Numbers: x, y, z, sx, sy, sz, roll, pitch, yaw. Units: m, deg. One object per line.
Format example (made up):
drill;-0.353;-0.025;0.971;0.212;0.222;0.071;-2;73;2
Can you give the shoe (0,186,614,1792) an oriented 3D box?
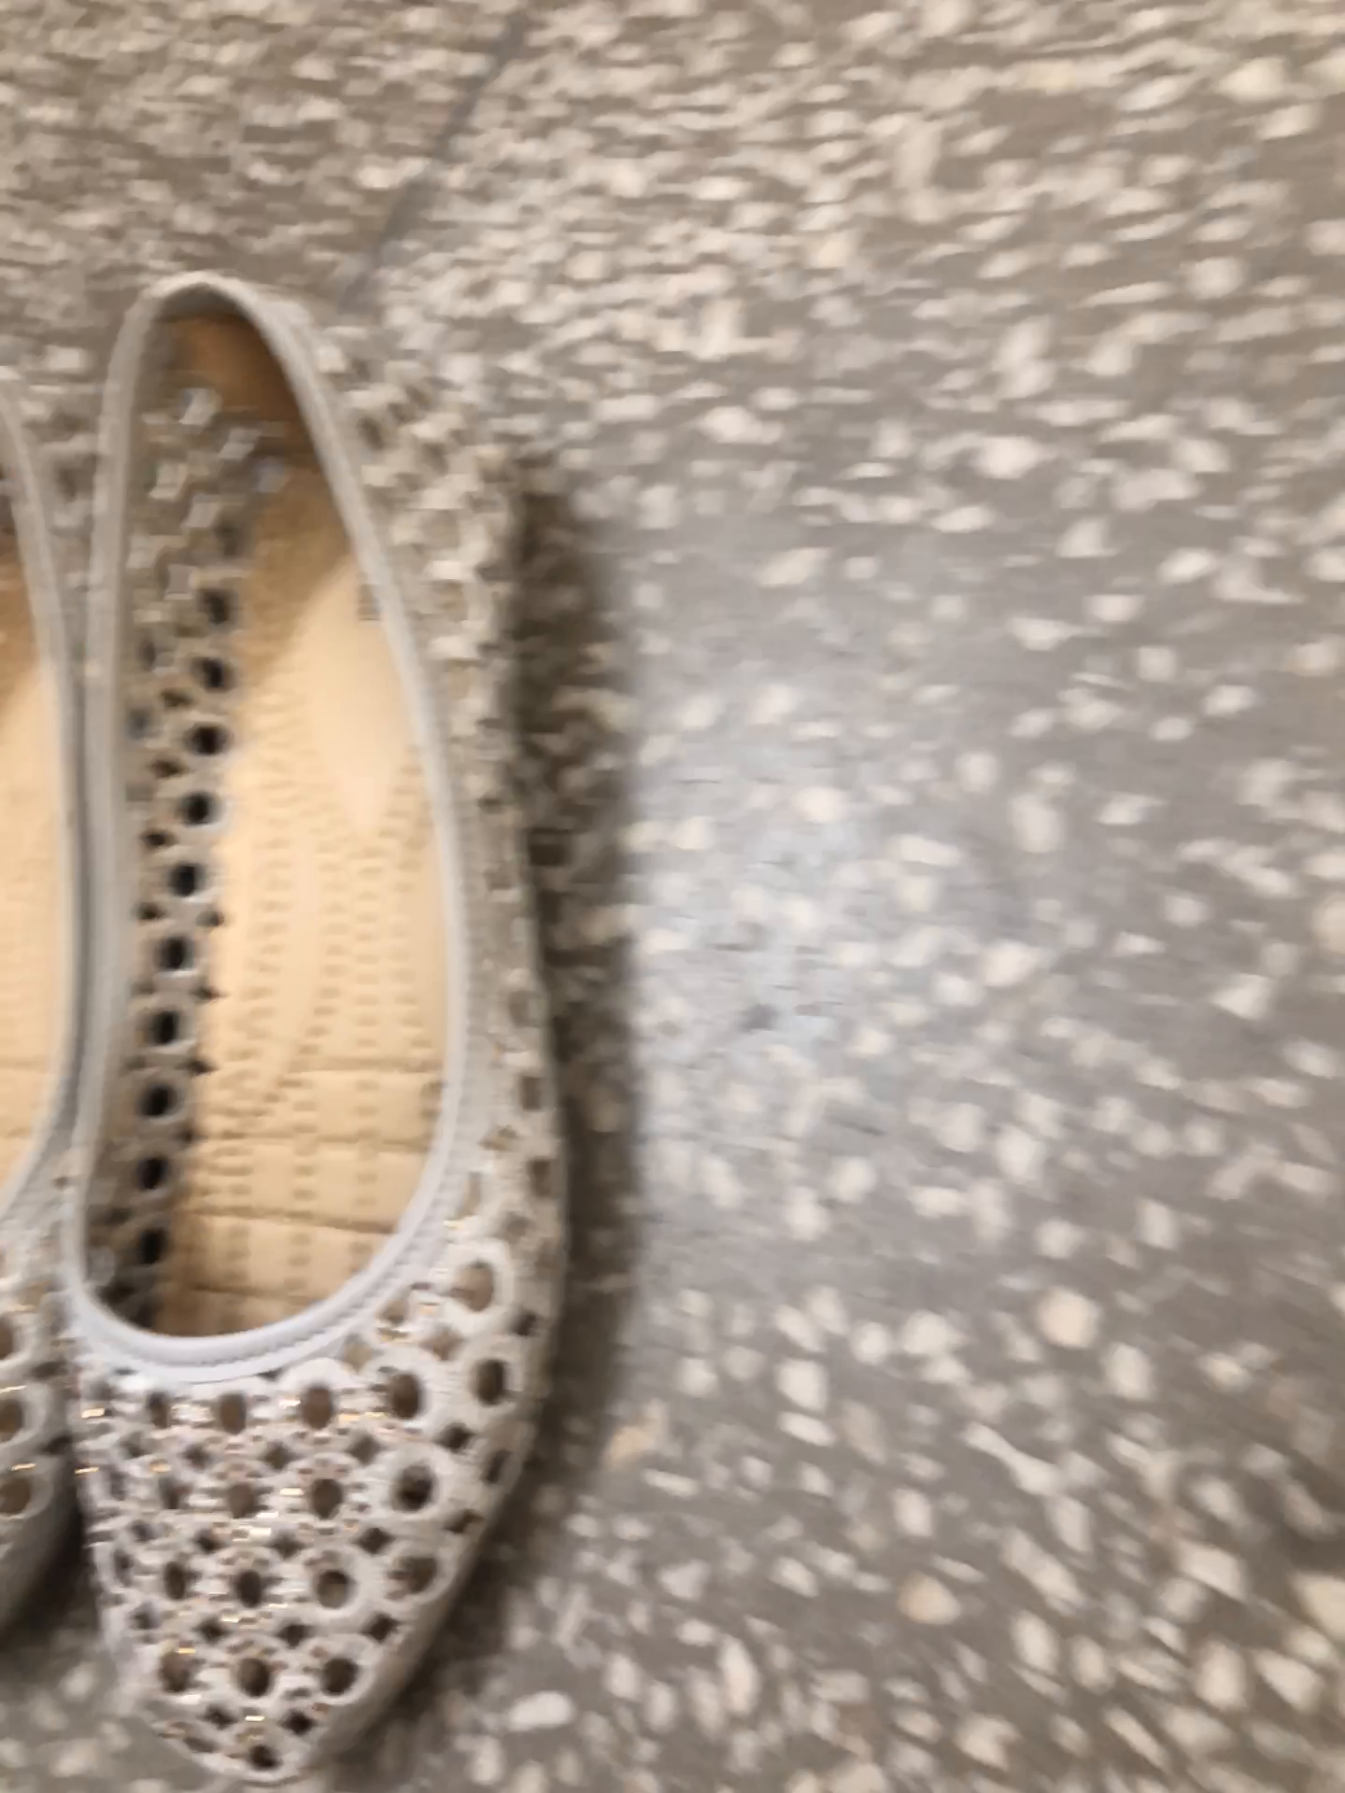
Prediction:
shoe;-0.073;0.019;0.251;0.093;0.070;0.240;-4;76;24

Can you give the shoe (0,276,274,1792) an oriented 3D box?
shoe;-0.147;0.019;0.284;0.093;0.070;0.240;-4;76;24
